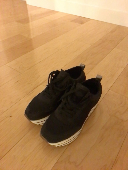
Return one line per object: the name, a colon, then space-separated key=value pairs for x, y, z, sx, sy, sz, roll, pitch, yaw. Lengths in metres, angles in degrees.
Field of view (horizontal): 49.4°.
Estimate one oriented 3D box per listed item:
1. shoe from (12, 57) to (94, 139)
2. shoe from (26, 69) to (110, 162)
shoe: x=-0.019 y=0.024 z=0.508 sx=0.120 sy=0.109 sz=0.292 roll=26 pitch=47 yaw=25
shoe: x=0.031 y=0.075 z=0.469 sx=0.120 sy=0.099 sz=0.292 roll=26 pitch=47 yaw=25
